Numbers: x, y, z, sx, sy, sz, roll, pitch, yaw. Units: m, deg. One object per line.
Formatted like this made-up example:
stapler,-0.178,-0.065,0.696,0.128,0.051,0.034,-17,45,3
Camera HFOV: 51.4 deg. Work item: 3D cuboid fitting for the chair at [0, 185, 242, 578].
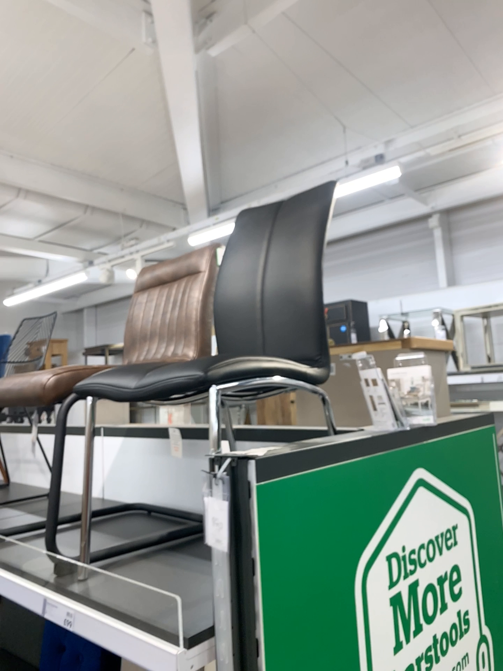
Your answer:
chair,-0.449,0.126,1.578,0.553,0.886,0.582,-10,-10,44

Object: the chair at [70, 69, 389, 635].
chair,-0.054,0.033,1.286,0.474,0.997,0.582,-9,-10,40
